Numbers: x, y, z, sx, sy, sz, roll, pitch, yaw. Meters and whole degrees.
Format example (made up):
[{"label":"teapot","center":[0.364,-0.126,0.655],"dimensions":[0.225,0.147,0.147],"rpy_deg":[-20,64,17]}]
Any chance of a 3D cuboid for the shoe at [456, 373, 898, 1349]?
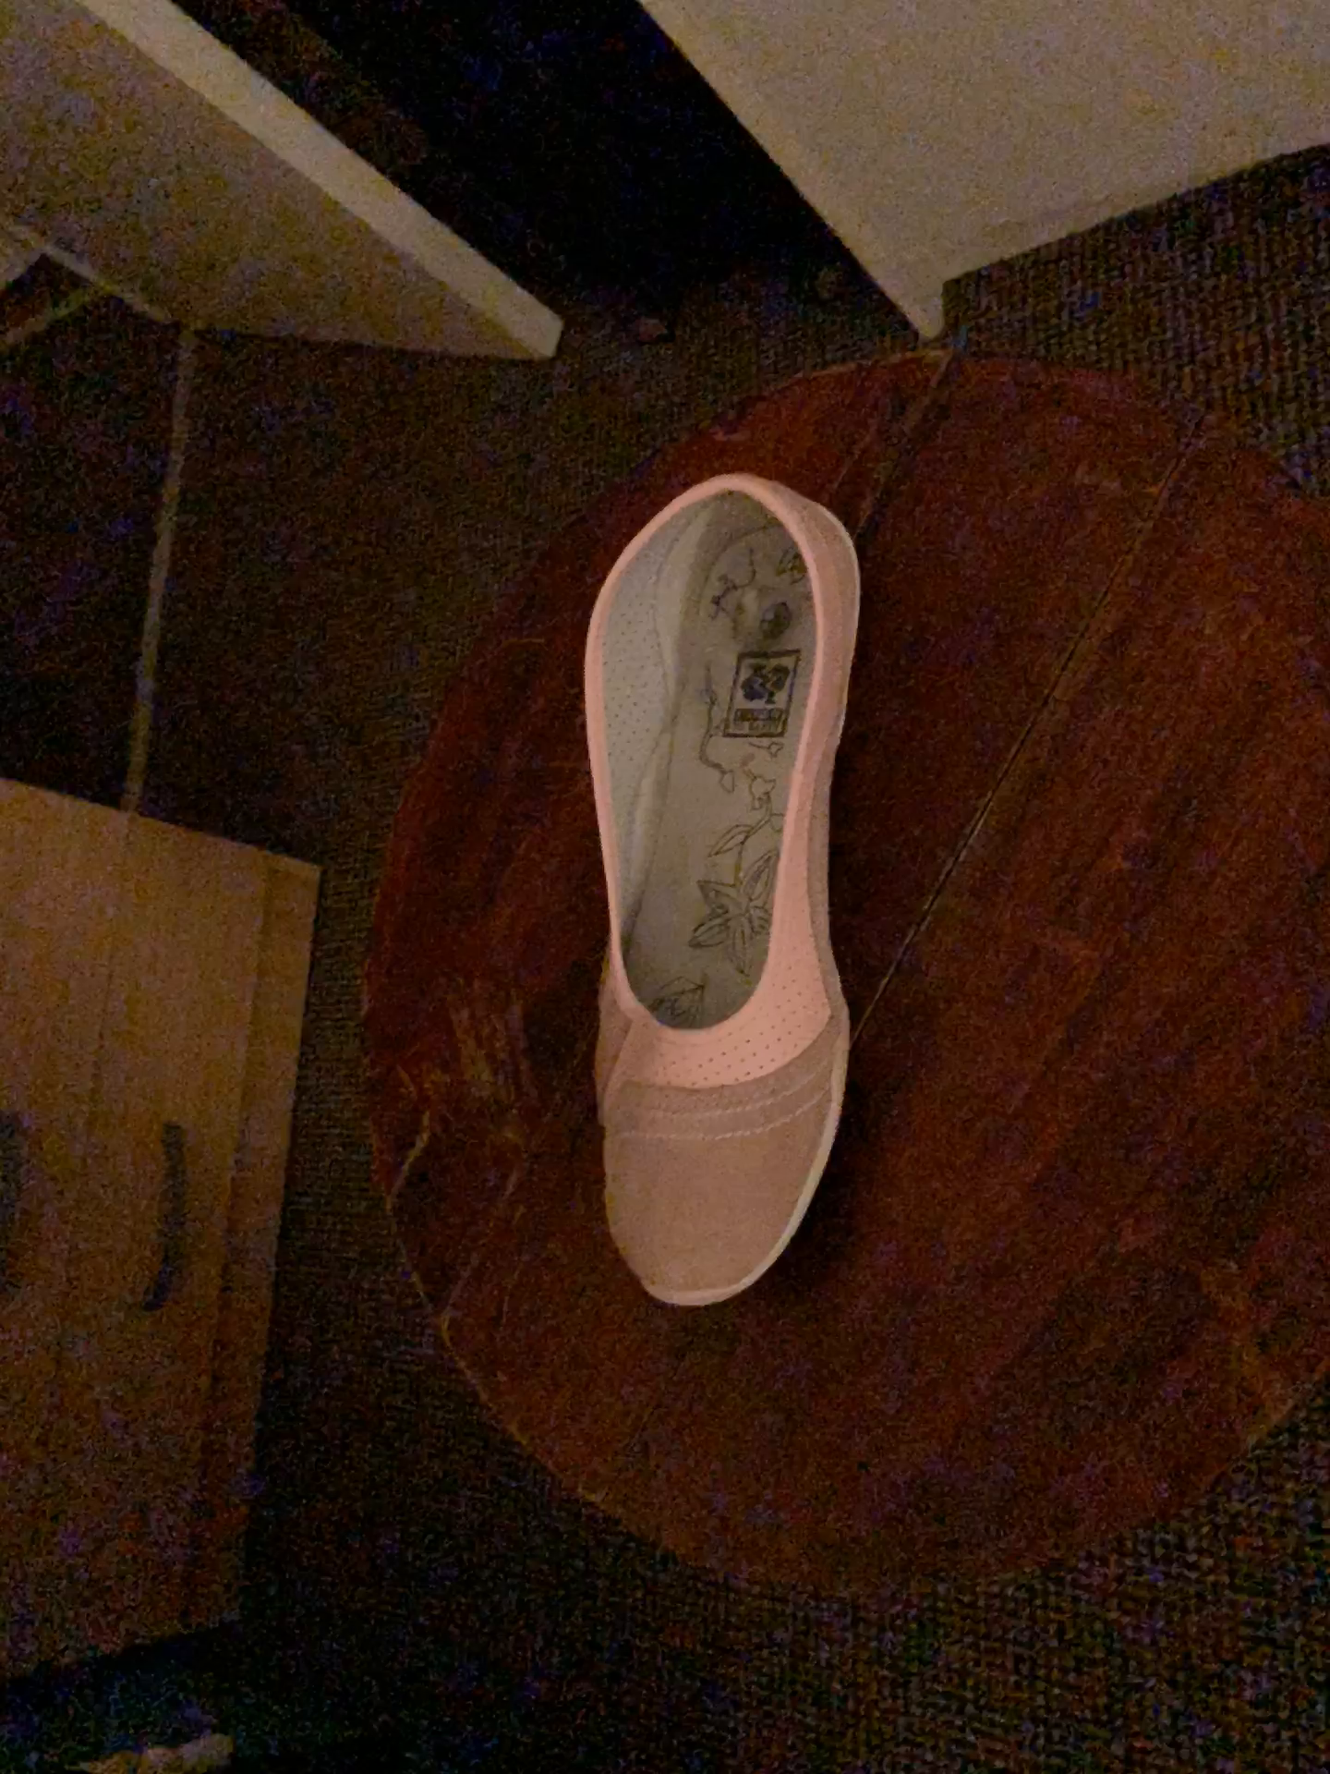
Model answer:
[{"label":"shoe","center":[0.008,-0.007,0.420],"dimensions":[0.090,0.070,0.270],"rpy_deg":[-4,75,36]}]
